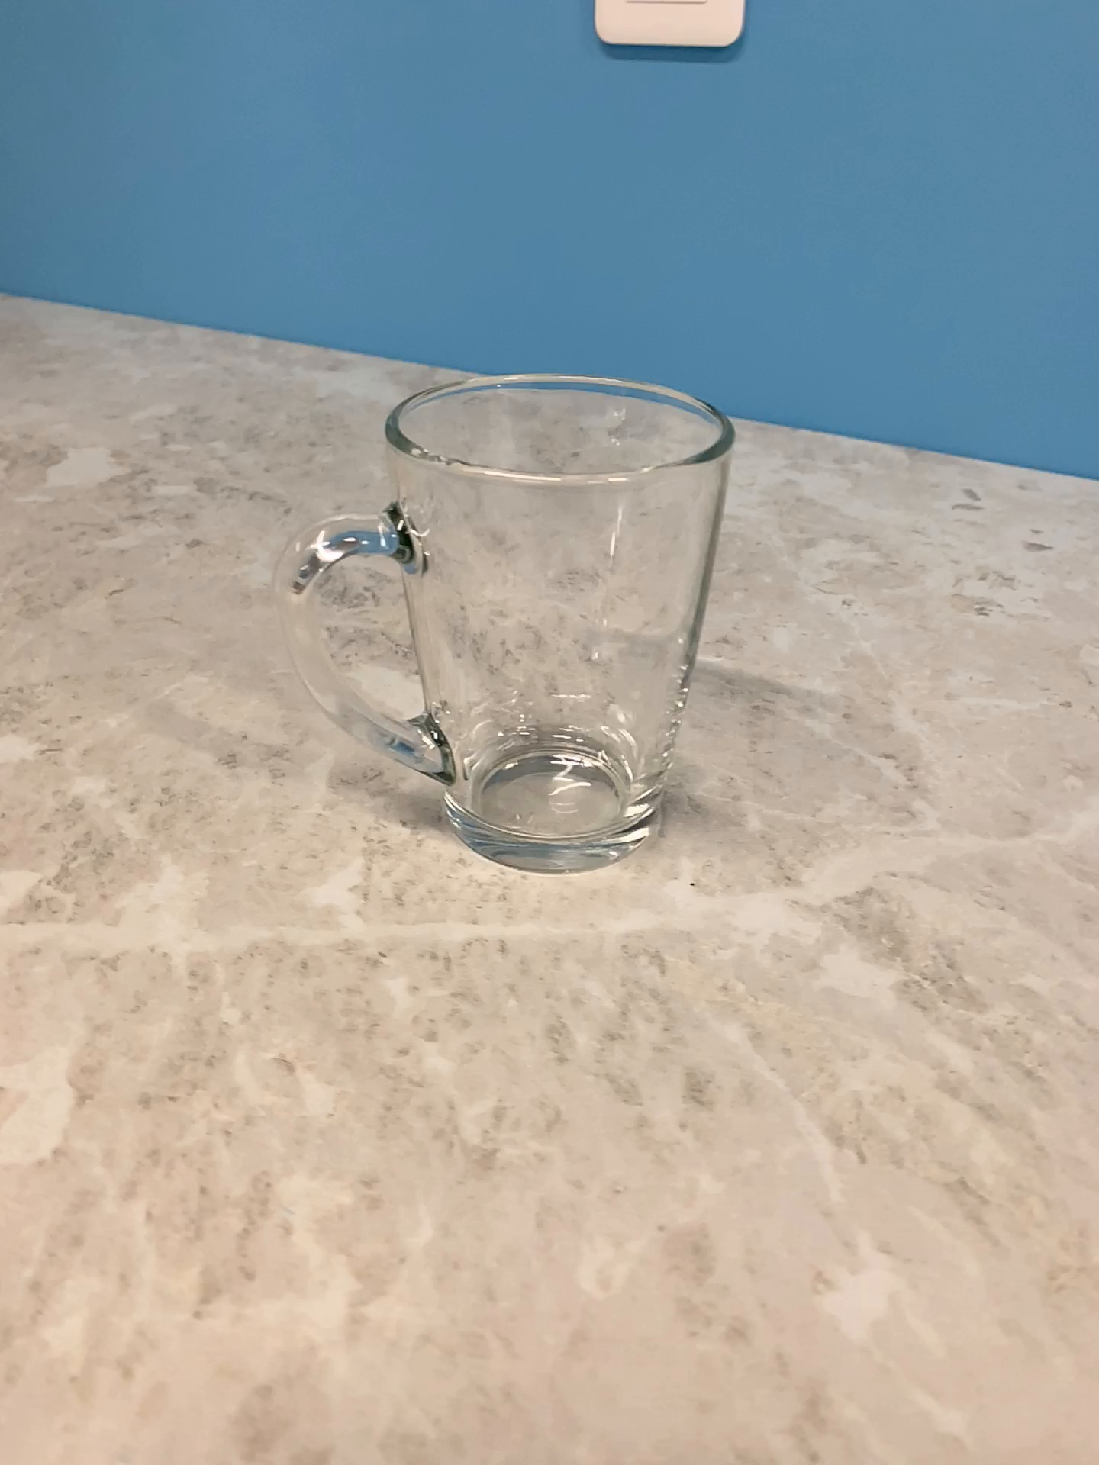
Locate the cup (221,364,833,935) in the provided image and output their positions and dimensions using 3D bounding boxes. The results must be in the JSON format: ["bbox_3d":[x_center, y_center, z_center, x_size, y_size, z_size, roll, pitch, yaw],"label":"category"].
[{"bbox_3d":[-0.011,-0.028,0.282,0.115,0.097,0.089,-10,33,-18],"label":"cup"}]
